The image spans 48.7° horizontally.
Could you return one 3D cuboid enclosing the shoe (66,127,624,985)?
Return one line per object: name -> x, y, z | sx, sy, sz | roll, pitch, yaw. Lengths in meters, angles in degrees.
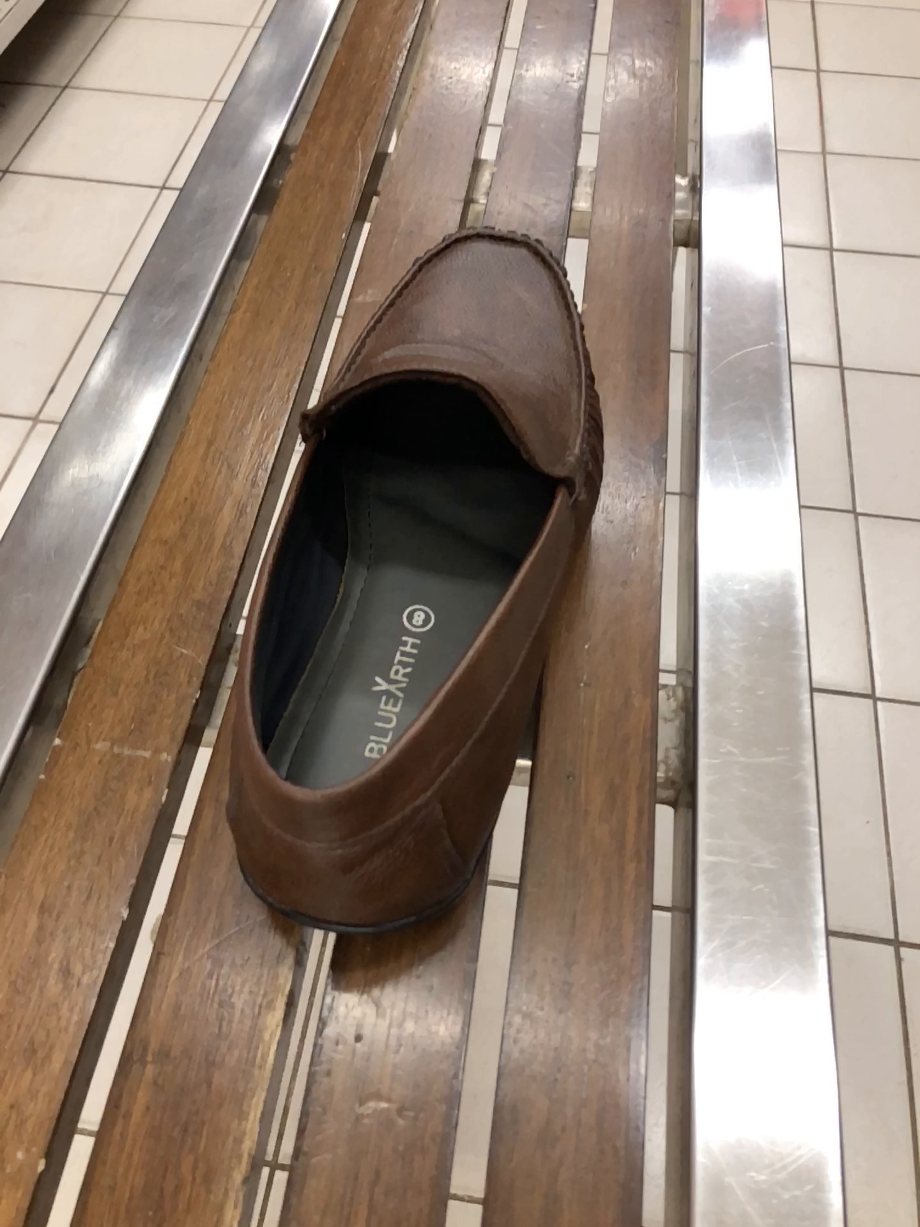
shoe -> -0.014, -0.039, 0.340 | 0.090, 0.090, 0.281 | 10, 56, 8
